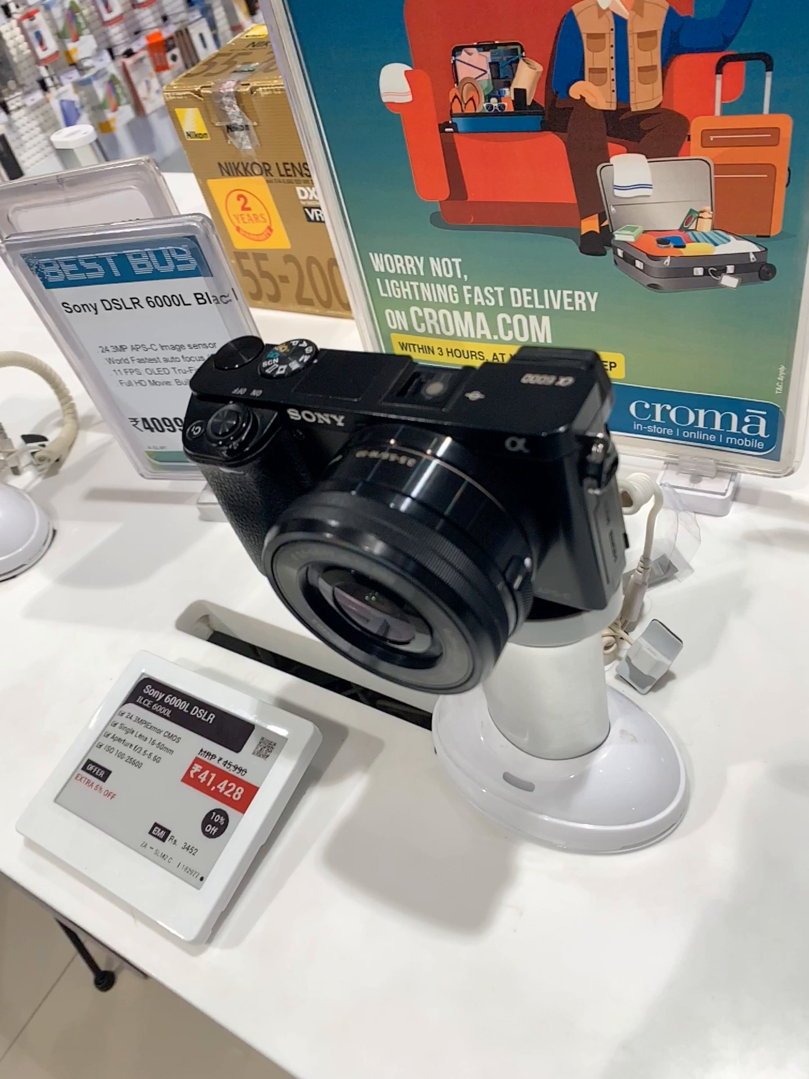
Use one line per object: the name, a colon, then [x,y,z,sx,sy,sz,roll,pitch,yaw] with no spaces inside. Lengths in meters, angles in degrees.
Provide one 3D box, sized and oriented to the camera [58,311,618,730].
camera: [-0.012,-0.009,0.217,0.118,0.073,0.055,11,51,26]
